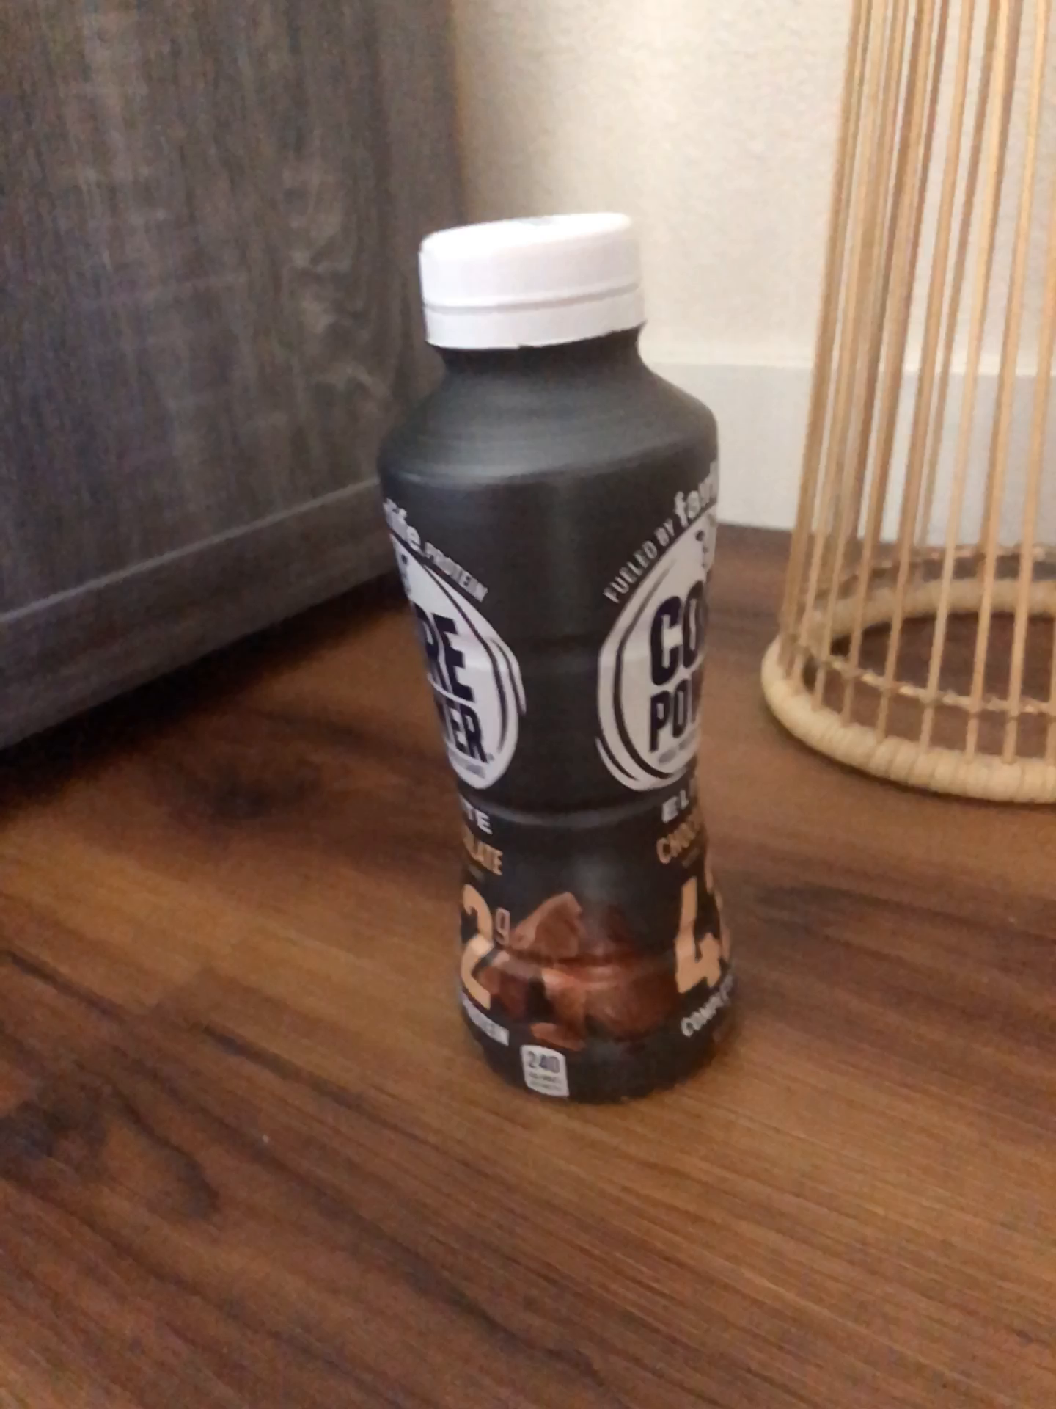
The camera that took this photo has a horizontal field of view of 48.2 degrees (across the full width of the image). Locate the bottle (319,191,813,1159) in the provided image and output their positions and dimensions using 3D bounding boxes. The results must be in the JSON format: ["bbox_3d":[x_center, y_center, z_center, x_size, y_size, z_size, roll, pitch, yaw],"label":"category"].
[{"bbox_3d":[0.011,-0.007,0.254,0.070,0.184,0.070,-5,25,2],"label":"bottle"}]
